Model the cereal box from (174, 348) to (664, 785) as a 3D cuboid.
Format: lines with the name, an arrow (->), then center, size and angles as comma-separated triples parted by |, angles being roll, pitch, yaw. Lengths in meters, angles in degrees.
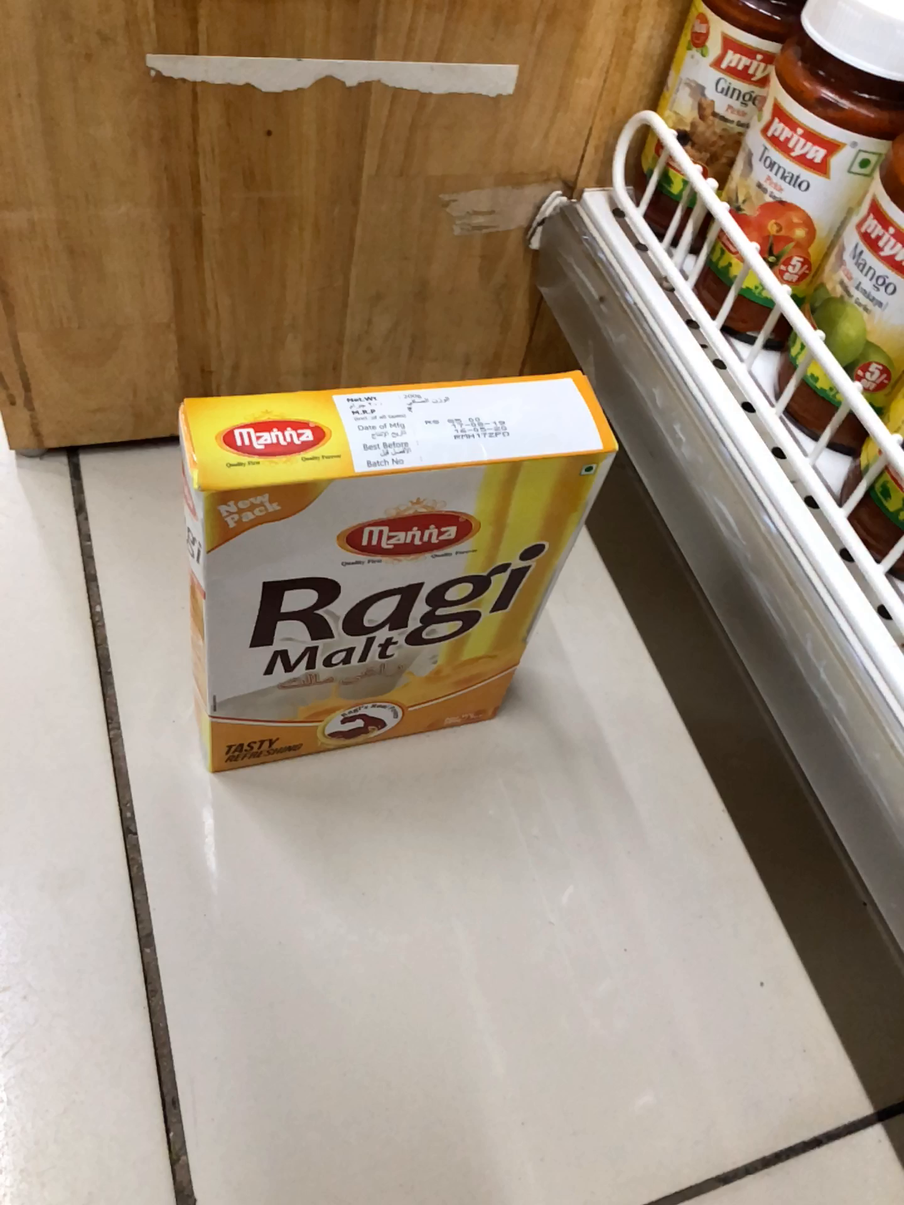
cereal box -> -0.021, -0.005, 0.365 | 0.140, 0.179, 0.040 | -8, 55, -16
